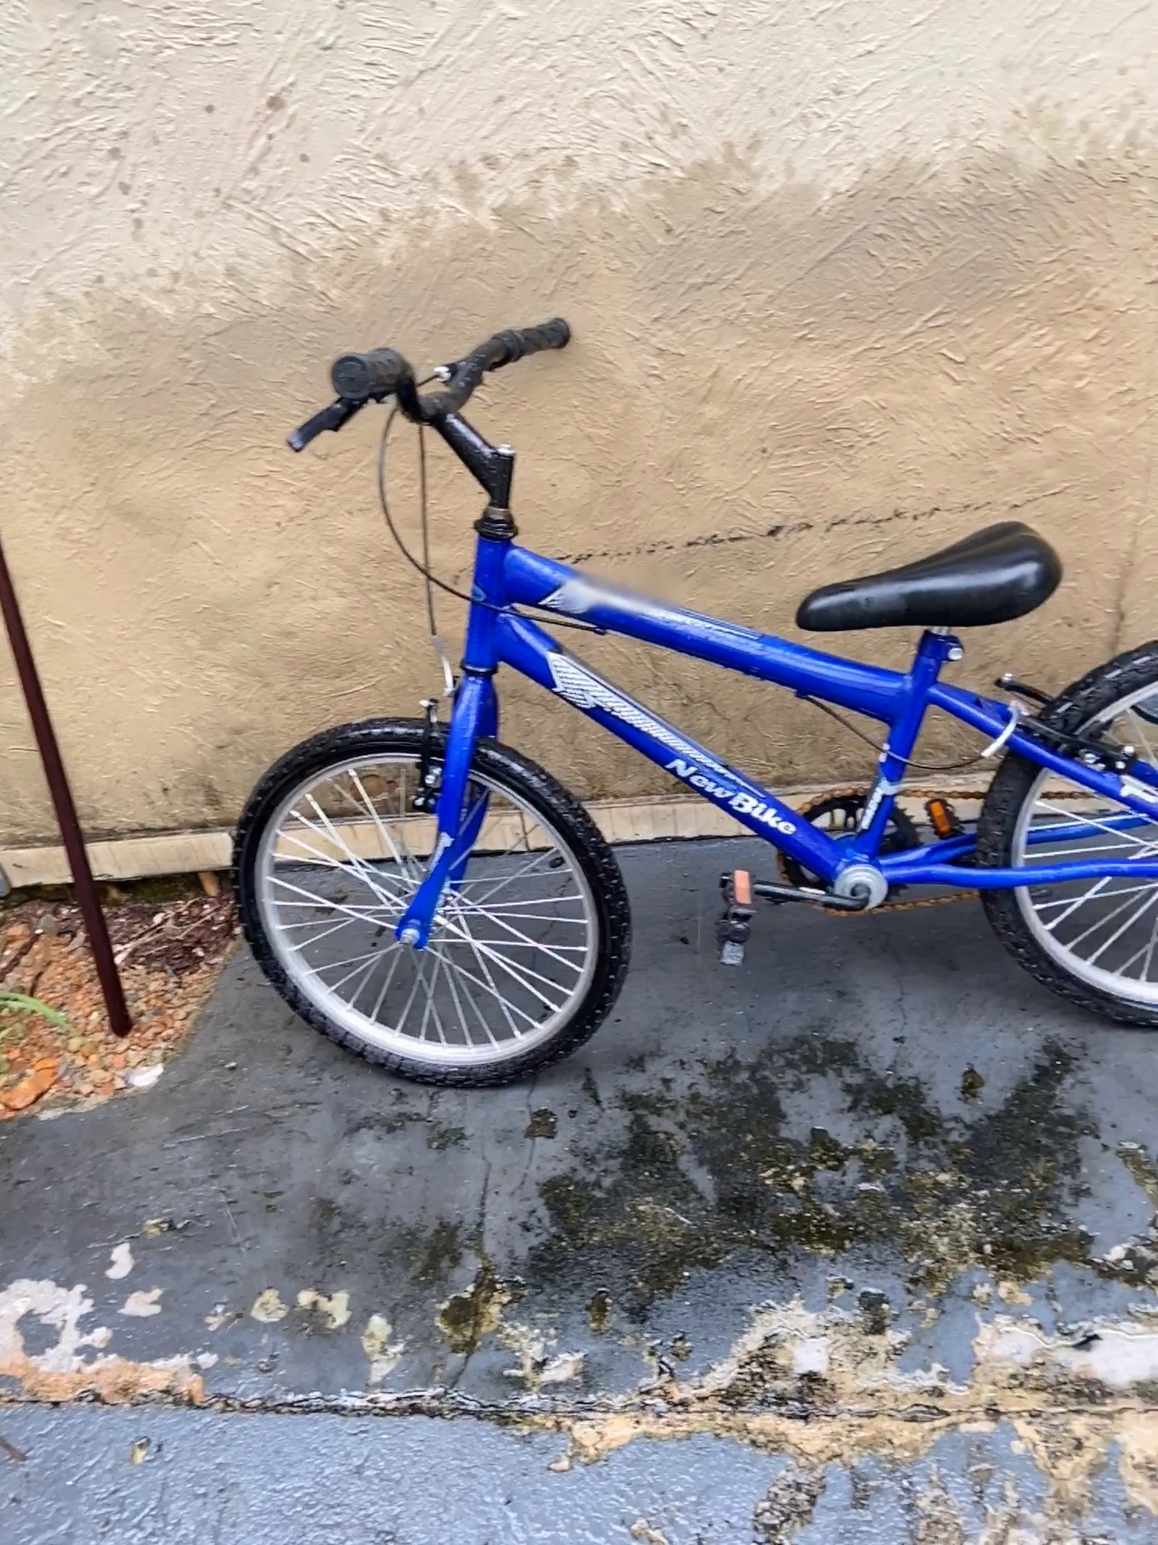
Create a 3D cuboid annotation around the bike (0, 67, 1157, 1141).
[{"bbox_3d":[0.208,-0.130,1.197,1.249,0.849,0.546,-4,34,8],"label":"bike"}]
